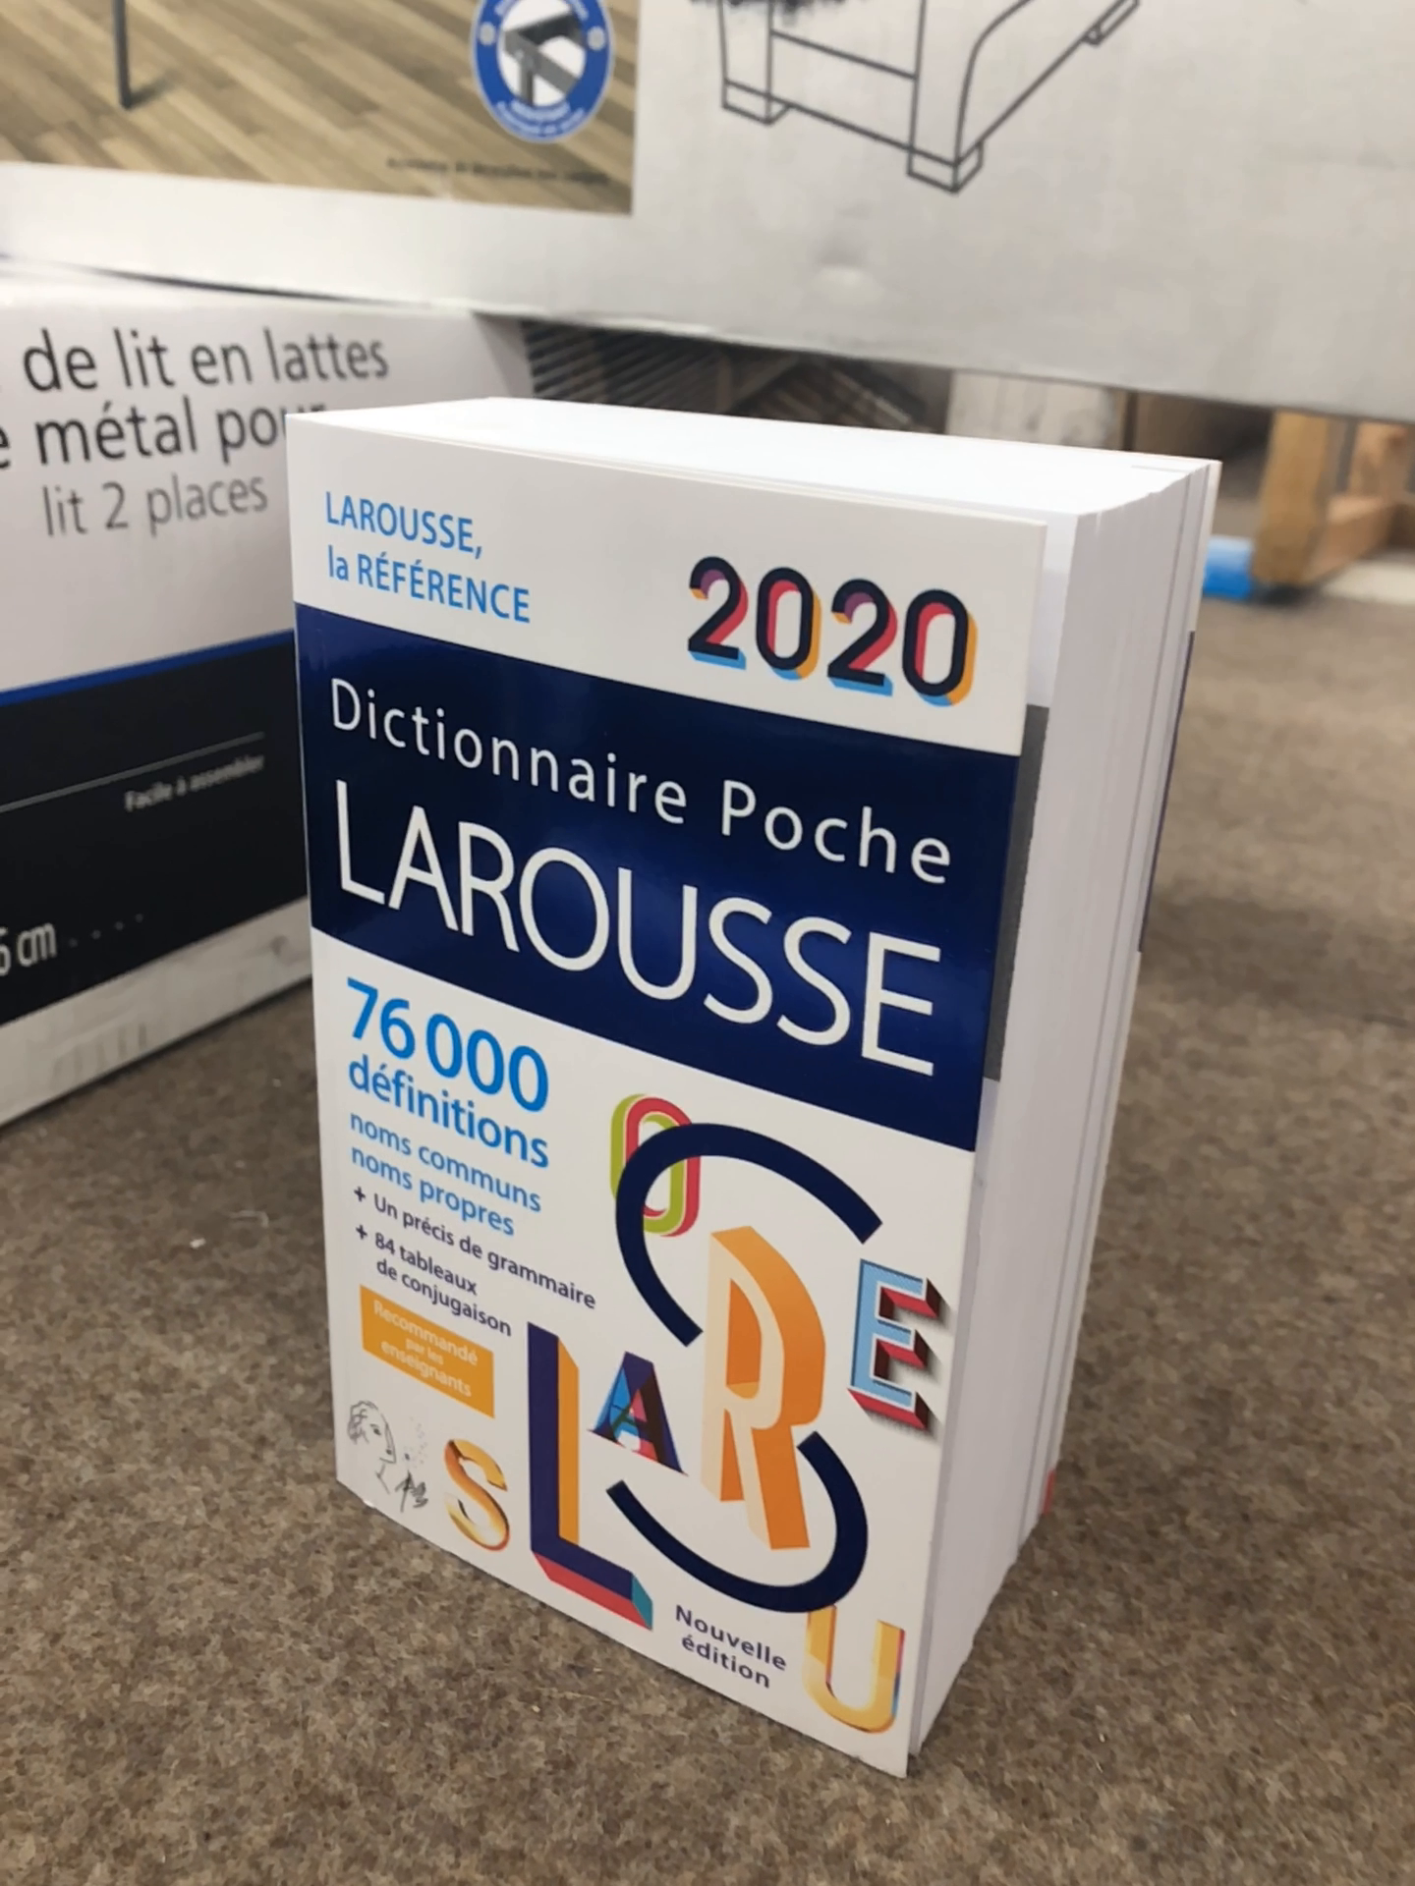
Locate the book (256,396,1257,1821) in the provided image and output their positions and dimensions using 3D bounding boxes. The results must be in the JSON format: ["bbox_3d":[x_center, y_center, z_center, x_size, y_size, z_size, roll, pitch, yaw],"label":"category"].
[{"bbox_3d":[0.002,0.017,0.232,0.111,0.173,0.061,15,25,27],"label":"book"}]
